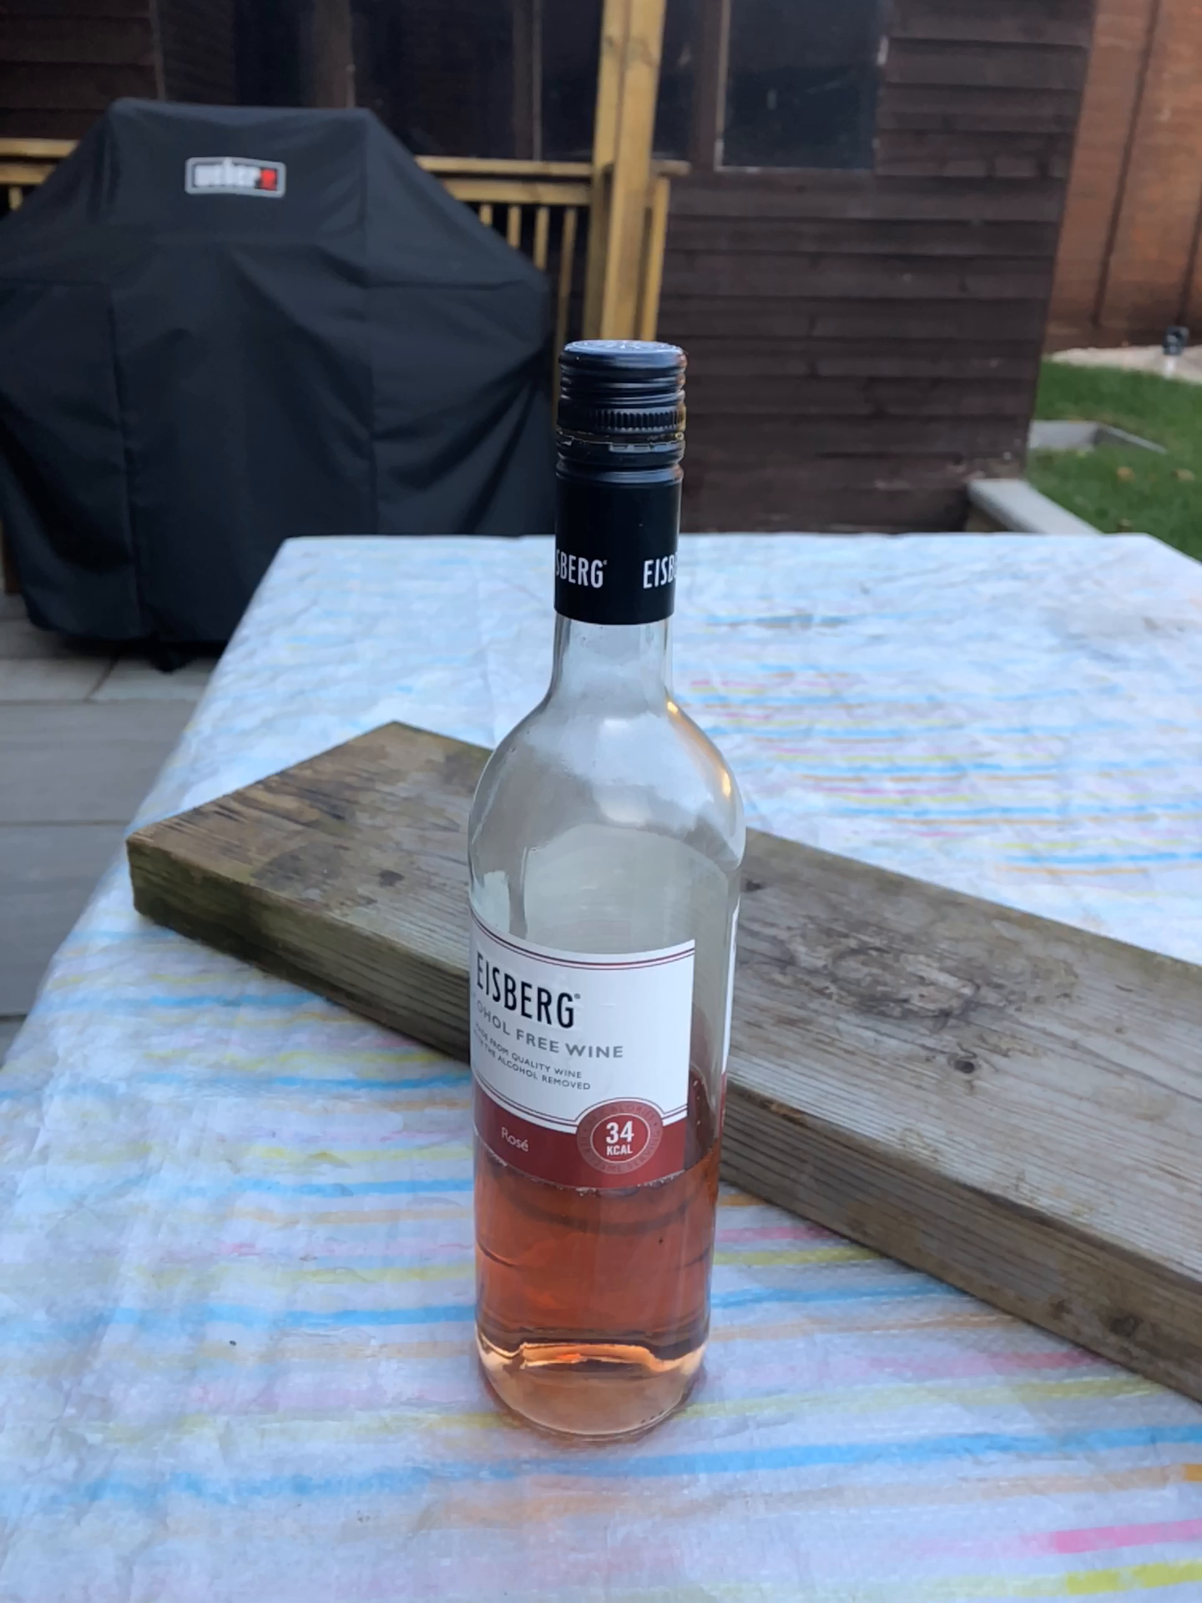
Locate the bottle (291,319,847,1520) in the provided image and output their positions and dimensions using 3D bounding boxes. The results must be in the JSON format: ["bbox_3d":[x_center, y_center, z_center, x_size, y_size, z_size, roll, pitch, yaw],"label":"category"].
[{"bbox_3d":[-0.009,0.033,0.345,0.090,0.288,0.080,17,28,31],"label":"bottle"}]
